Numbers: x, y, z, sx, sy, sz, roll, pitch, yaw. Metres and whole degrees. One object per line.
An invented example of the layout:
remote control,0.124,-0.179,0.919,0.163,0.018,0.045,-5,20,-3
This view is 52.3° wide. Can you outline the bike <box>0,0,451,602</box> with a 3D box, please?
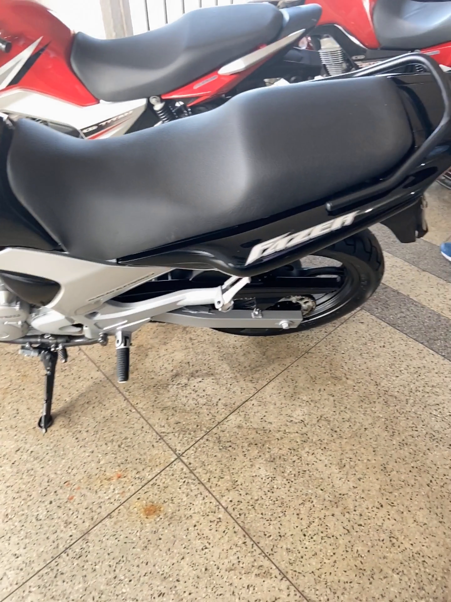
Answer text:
bike,-0.428,-0.131,1.173,1.879,1.511,0.847,-12,43,-14
